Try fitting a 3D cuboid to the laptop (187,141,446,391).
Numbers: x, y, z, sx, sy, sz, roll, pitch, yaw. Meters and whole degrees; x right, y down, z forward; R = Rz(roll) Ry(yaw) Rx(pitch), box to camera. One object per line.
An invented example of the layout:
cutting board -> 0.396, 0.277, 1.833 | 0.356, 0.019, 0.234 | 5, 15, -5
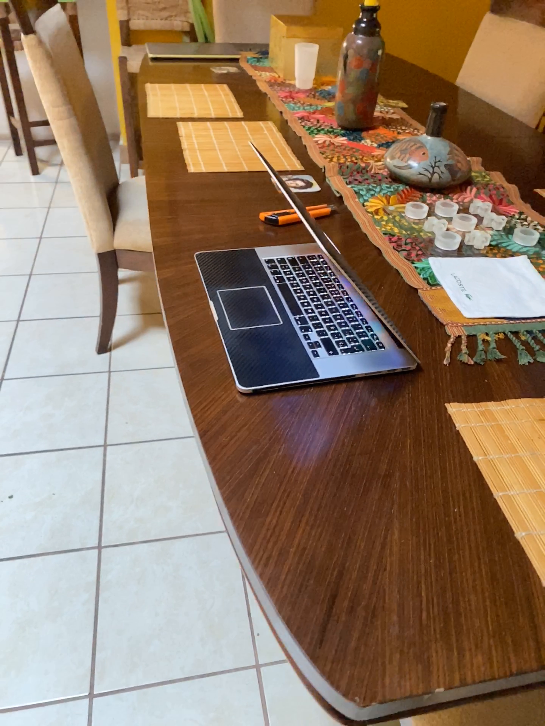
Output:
laptop -> 0.028, -0.160, 0.779 | 0.235, 0.181, 0.356 | -7, 40, -14
